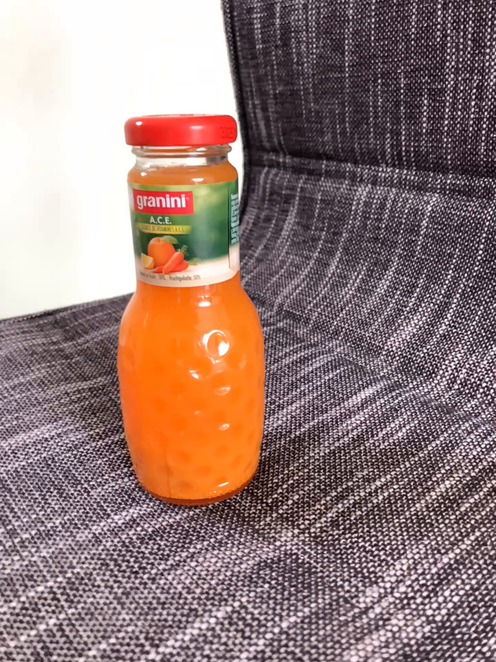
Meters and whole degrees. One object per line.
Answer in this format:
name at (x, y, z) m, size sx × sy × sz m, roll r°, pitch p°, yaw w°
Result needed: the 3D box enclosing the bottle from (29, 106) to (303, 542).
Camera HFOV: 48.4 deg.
bottle at (-0.022, -0.005, 0.216) m, size 0.070 × 0.149 × 0.060 m, roll 7°, pitch 26°, yaw 22°
